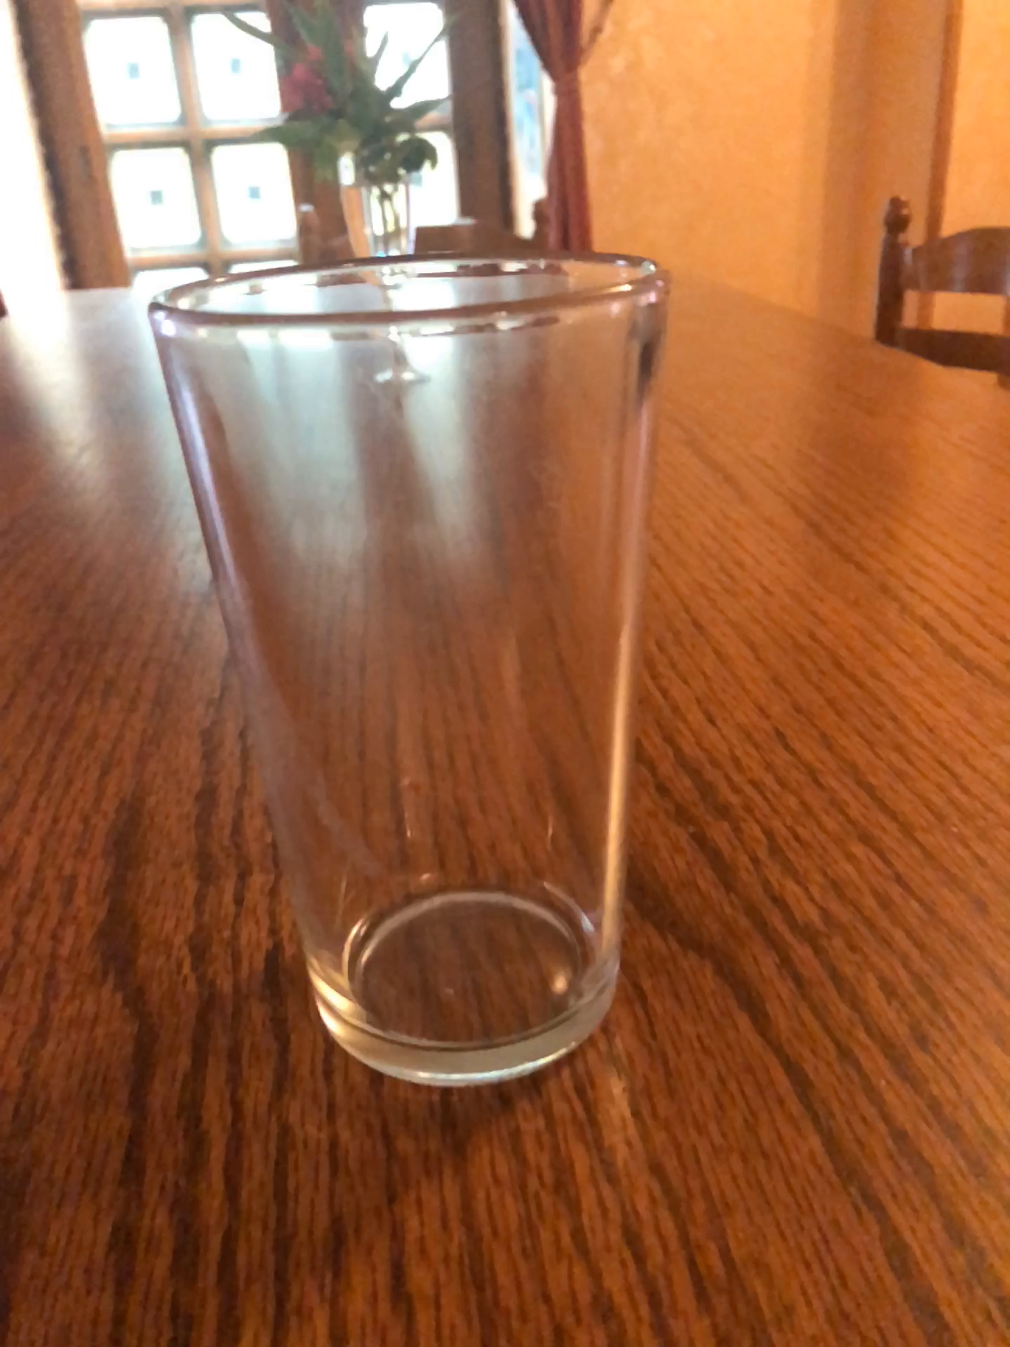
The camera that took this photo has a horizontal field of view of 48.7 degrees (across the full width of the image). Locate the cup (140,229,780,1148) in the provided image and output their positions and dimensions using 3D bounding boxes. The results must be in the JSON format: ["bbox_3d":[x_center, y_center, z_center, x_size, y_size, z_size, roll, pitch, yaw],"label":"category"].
[{"bbox_3d":[-0.012,-0.006,0.221,0.089,0.144,0.092,-3,24,1],"label":"cup"}]
